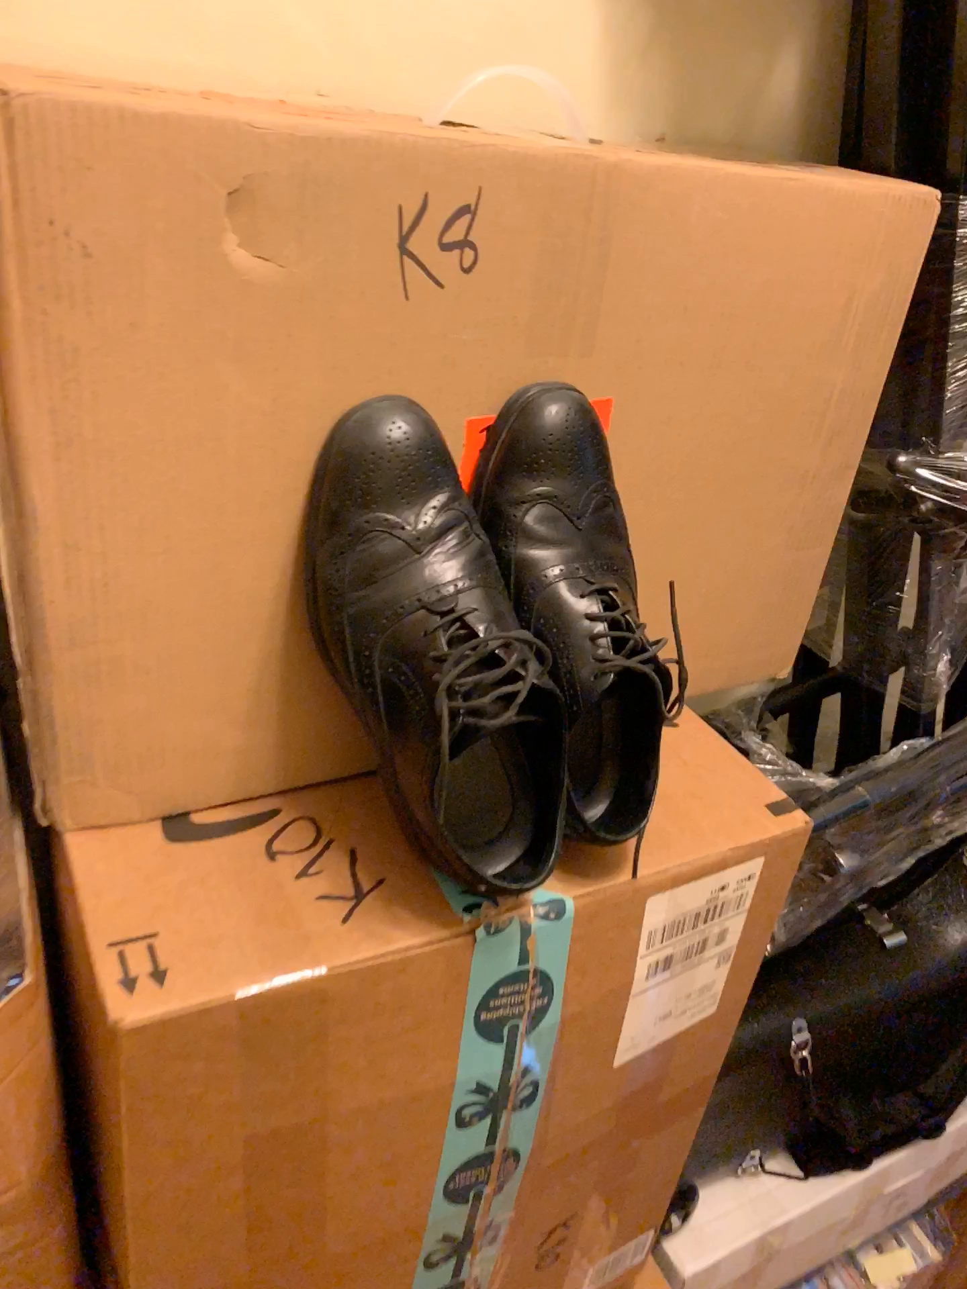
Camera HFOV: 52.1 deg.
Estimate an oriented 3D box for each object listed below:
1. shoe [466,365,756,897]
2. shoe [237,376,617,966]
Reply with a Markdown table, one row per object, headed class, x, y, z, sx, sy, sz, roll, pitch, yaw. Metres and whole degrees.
| class | x | y | z | sx | sy | sz | roll | pitch | yaw |
| --- | --- | --- | --- | --- | --- | --- | --- | --- | --- |
| shoe | 0.067 | -0.017 | 0.576 | 0.120 | 0.279 | 0.100 | -10 | 19 | -30 |
| shoe | -0.024 | 0.009 | 0.536 | 0.120 | 0.279 | 0.100 | -22 | 24 | -27 |
